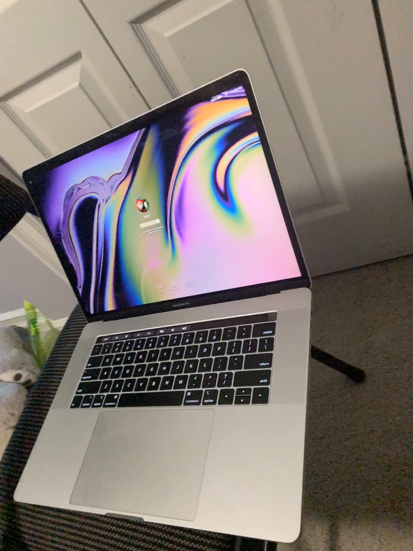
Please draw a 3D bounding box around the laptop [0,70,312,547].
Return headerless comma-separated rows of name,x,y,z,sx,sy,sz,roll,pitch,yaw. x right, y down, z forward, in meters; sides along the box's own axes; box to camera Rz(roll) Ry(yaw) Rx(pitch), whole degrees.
laptop,-0.094,0.031,0.439,0.342,0.195,0.353,-11,47,30
